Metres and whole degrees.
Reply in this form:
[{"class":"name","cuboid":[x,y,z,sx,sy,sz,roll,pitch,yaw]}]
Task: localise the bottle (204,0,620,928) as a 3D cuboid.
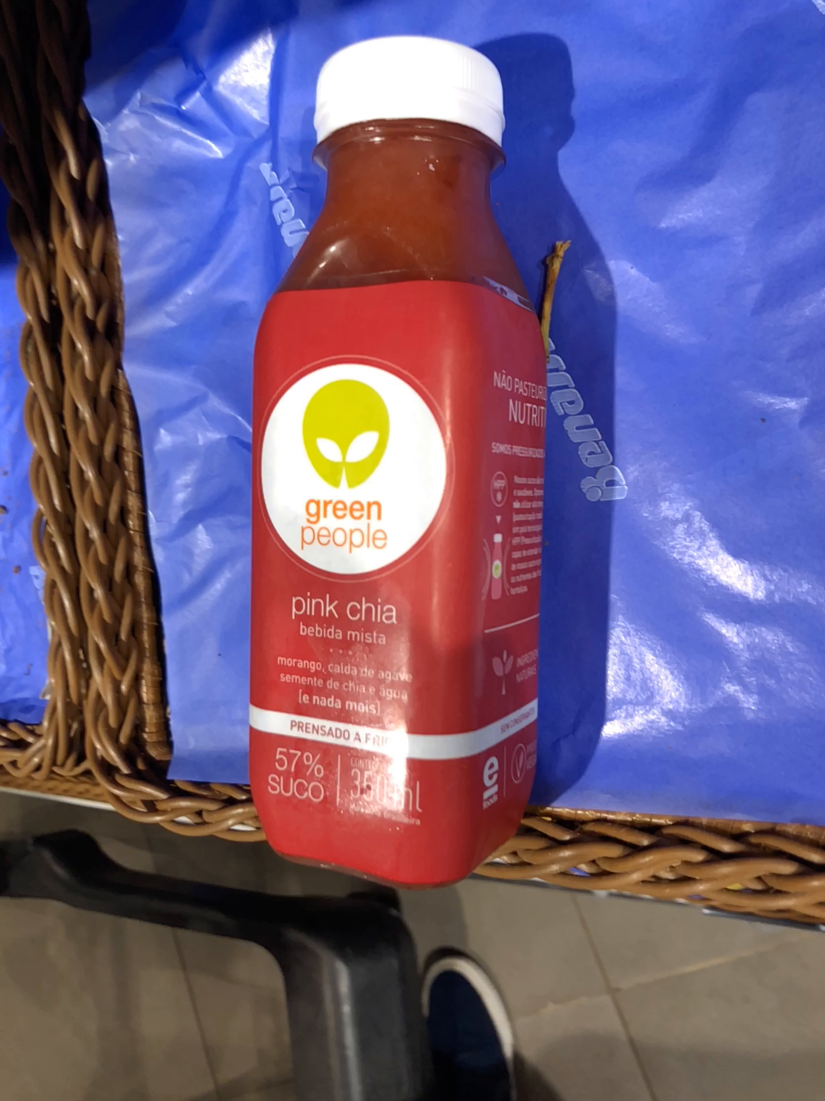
[{"class":"bottle","cuboid":[0.001,-0.030,0.201,0.060,0.060,0.190,5,94,30]}]
